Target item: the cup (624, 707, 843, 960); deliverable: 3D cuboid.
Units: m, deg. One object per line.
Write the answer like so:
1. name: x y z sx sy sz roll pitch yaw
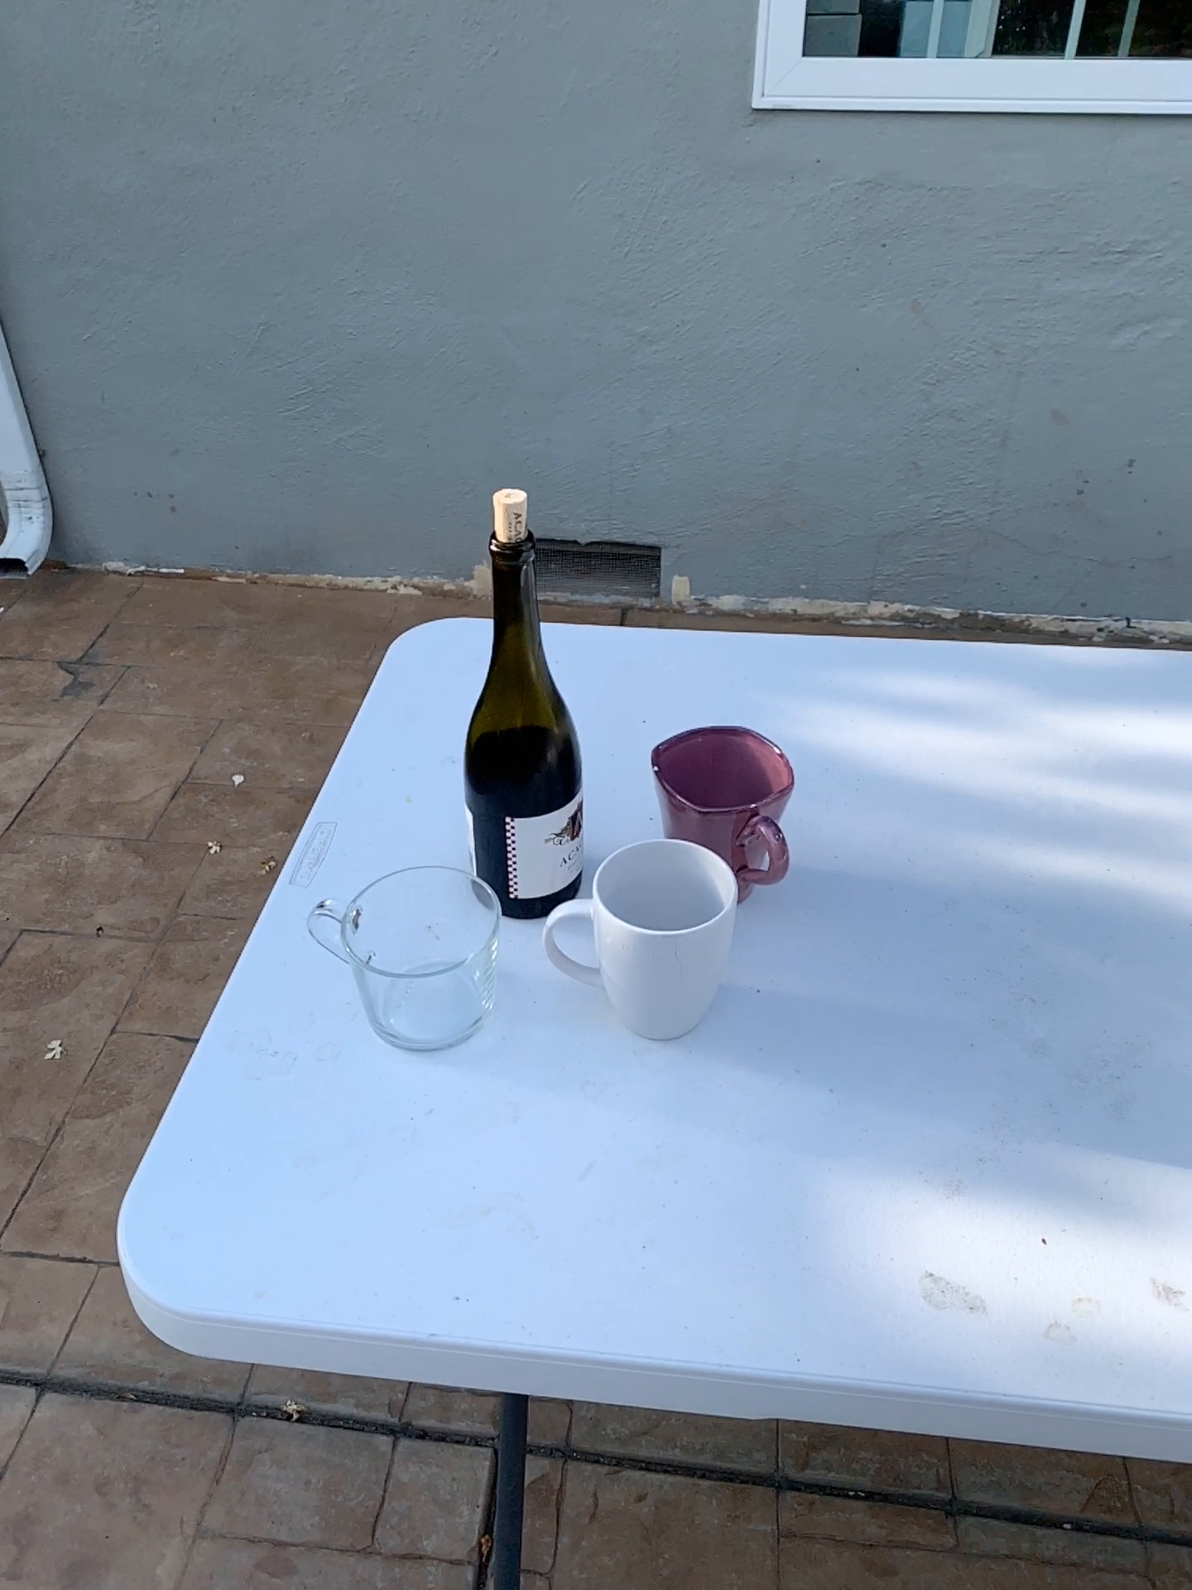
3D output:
1. cup: 0.093 0.024 0.881 0.100 0.099 0.141 -13 39 -16

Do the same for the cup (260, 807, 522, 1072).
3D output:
1. cup: -0.133 0.091 0.803 0.141 0.089 0.090 25 43 29

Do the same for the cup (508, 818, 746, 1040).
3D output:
1. cup: 0.021 0.085 0.783 0.140 0.099 0.091 2 37 4
